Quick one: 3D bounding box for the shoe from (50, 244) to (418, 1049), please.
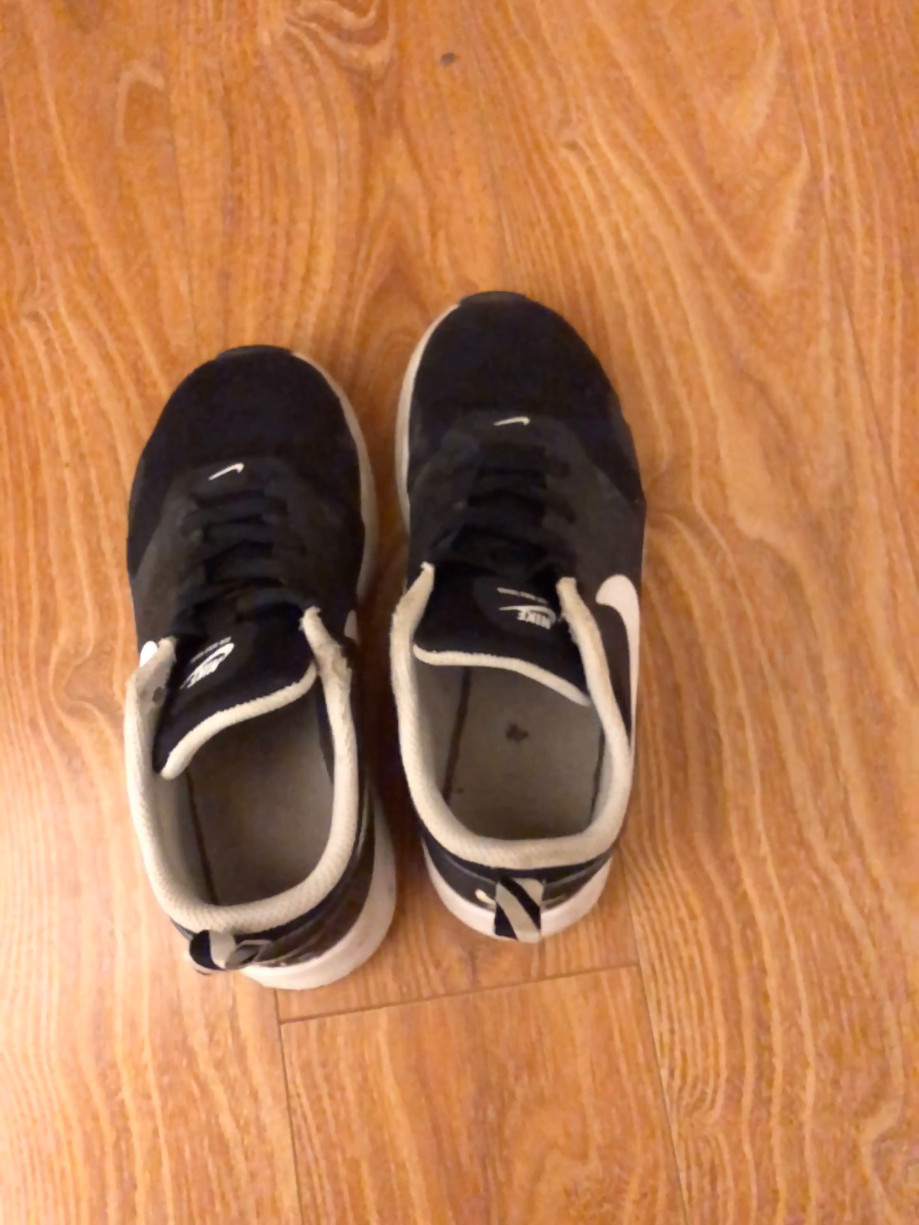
[{"bbox_3d":[-0.071,0.009,0.338,0.090,0.080,0.230,-6,80,0],"label":"shoe"}]

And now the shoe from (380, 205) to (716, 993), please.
[{"bbox_3d":[0.023,-0.004,0.334,0.090,0.080,0.230,-1,80,1],"label":"shoe"}]
